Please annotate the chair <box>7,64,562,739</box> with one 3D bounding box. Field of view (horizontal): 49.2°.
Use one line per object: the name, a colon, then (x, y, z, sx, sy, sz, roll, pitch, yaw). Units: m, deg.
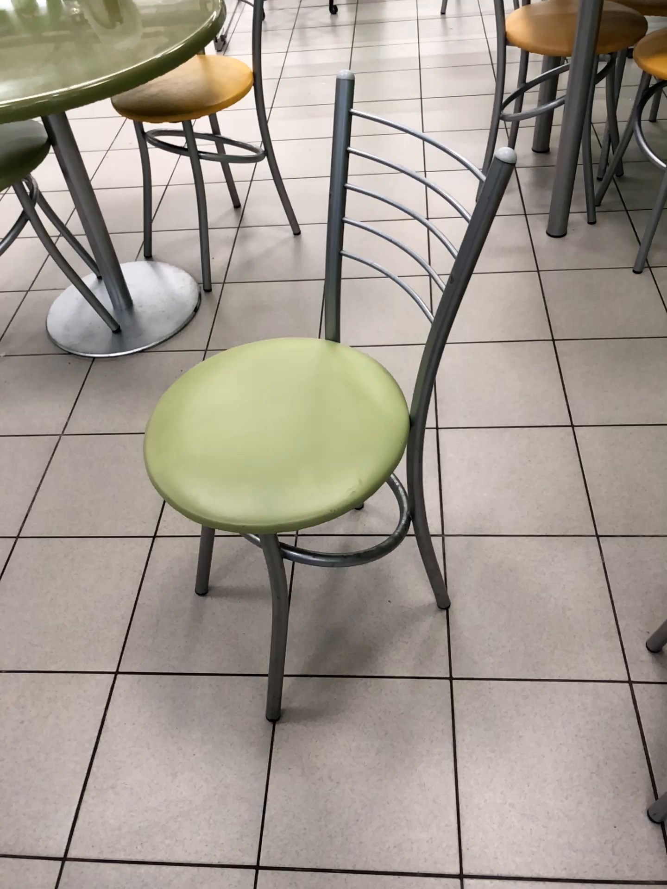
chair: (-0.033, -0.012, 1.084, 0.480, 0.826, 0.376, -27, 50, -18)
